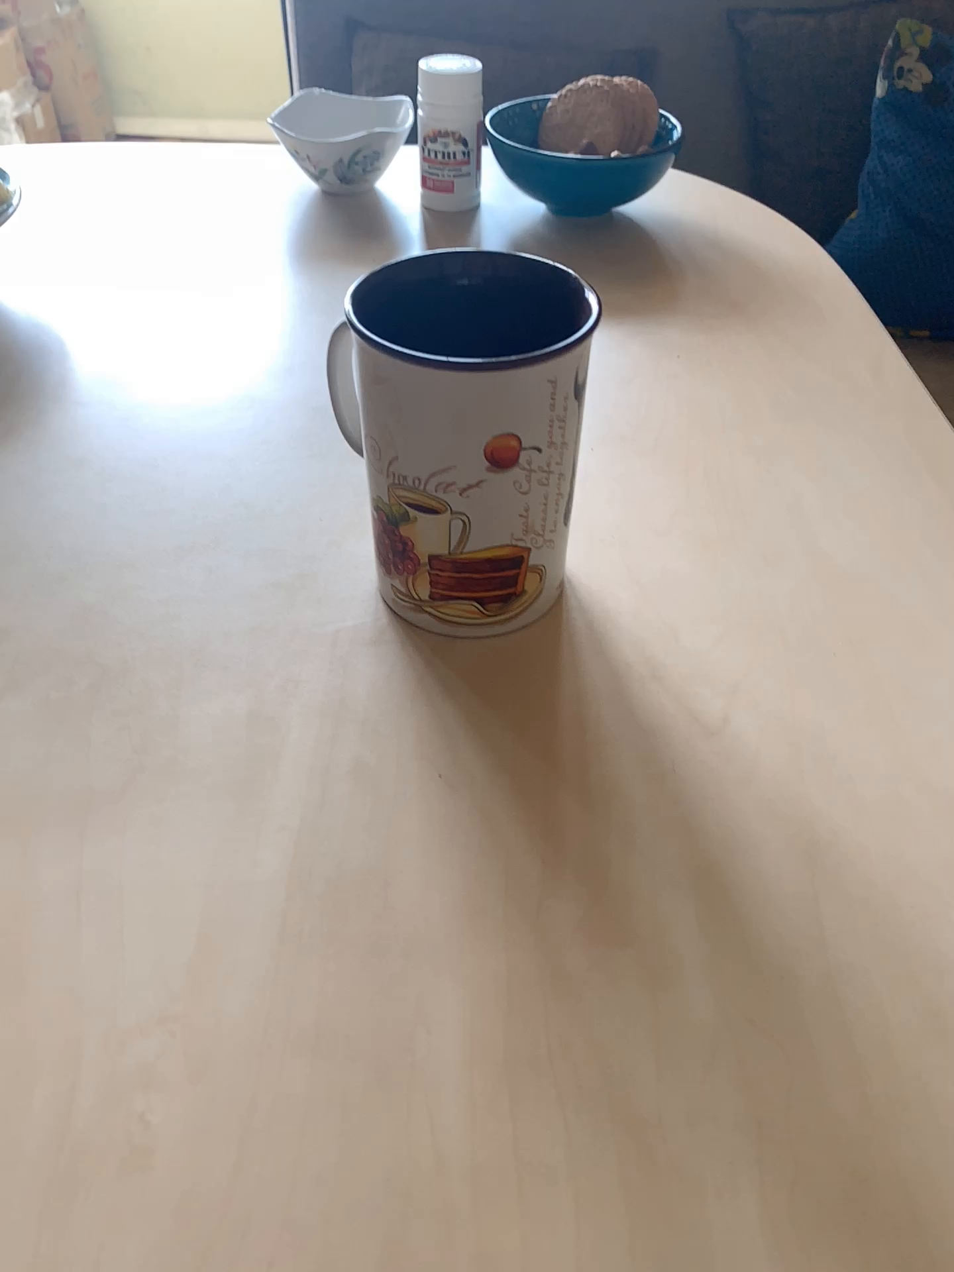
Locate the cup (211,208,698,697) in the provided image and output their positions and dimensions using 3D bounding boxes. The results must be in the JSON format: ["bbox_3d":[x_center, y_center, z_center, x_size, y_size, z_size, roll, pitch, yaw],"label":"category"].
[{"bbox_3d":[-0.009,-0.071,0.355,0.130,0.110,0.090,29,49,27],"label":"cup"}]
